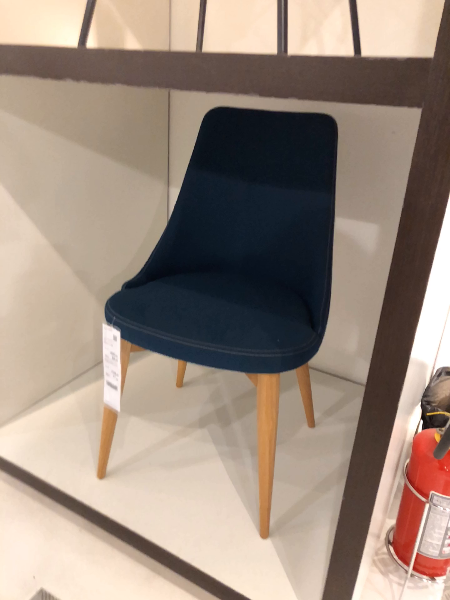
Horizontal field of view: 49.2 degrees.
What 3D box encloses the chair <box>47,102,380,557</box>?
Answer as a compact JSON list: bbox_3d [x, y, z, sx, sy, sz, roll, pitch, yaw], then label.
[{"bbox_3d":[0.000,0.007,1.194,0.520,0.864,0.523,12,26,21],"label":"chair"}]
